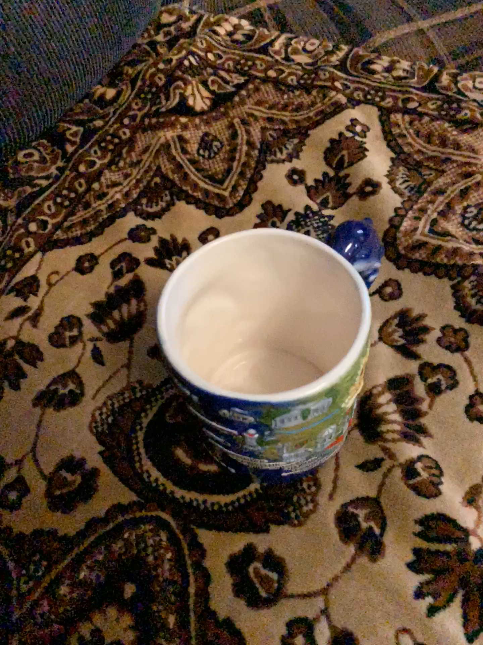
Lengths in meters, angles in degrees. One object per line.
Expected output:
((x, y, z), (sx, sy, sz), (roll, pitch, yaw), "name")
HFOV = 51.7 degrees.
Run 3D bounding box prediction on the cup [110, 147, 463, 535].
((0.027, 0.010, 0.247), (0.084, 0.106, 0.137), (29, 64, 21), "cup")
